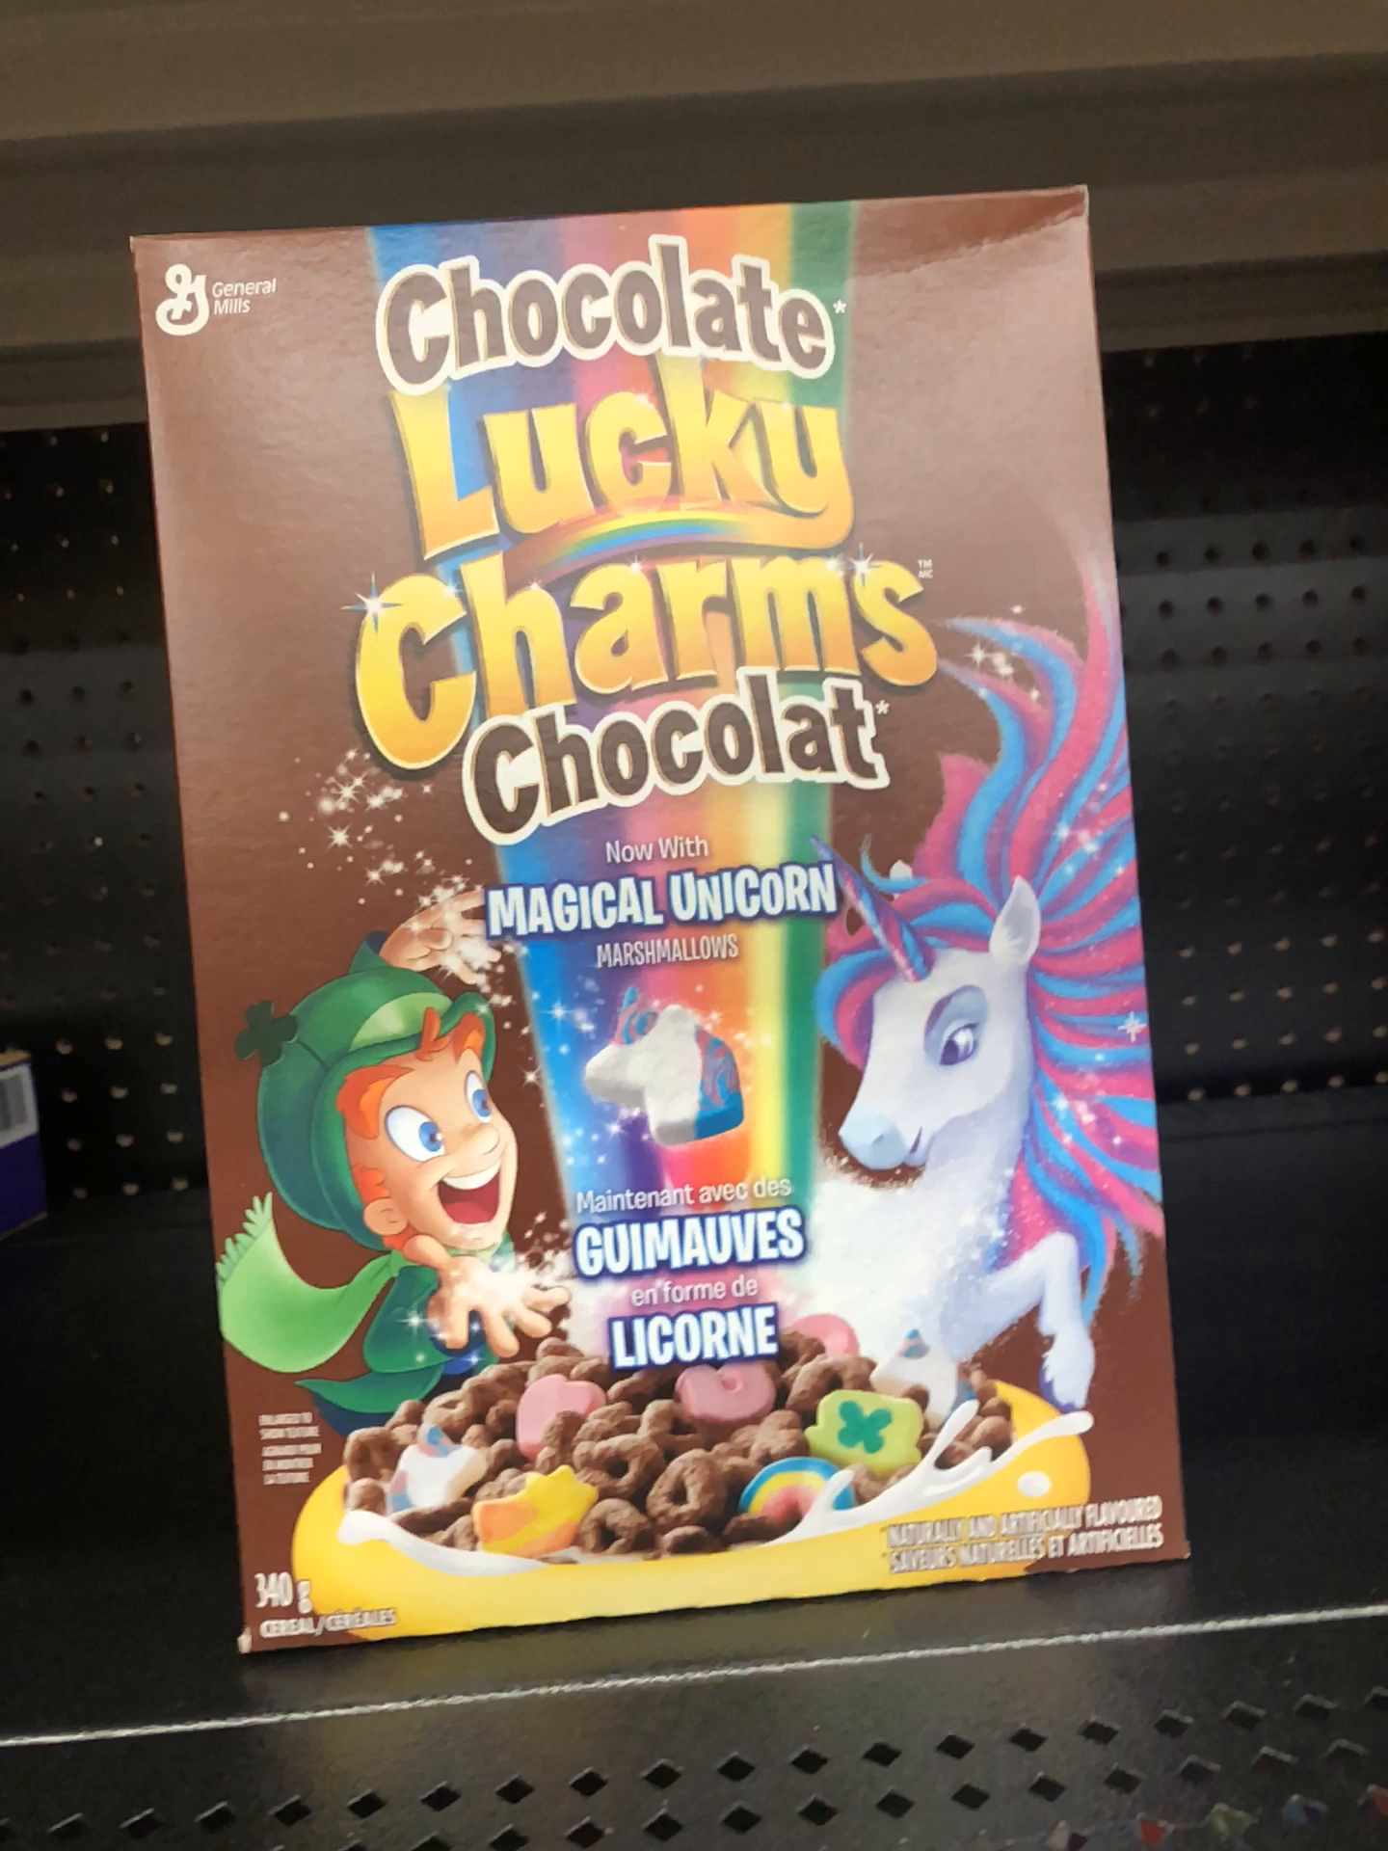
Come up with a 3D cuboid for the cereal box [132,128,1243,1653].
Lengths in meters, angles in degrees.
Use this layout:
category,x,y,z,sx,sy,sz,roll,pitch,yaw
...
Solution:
category,x,y,z,sx,sy,sz,roll,pitch,yaw
cereal box,-0.001,-0.009,0.336,0.200,0.290,0.060,-4,0,-1
